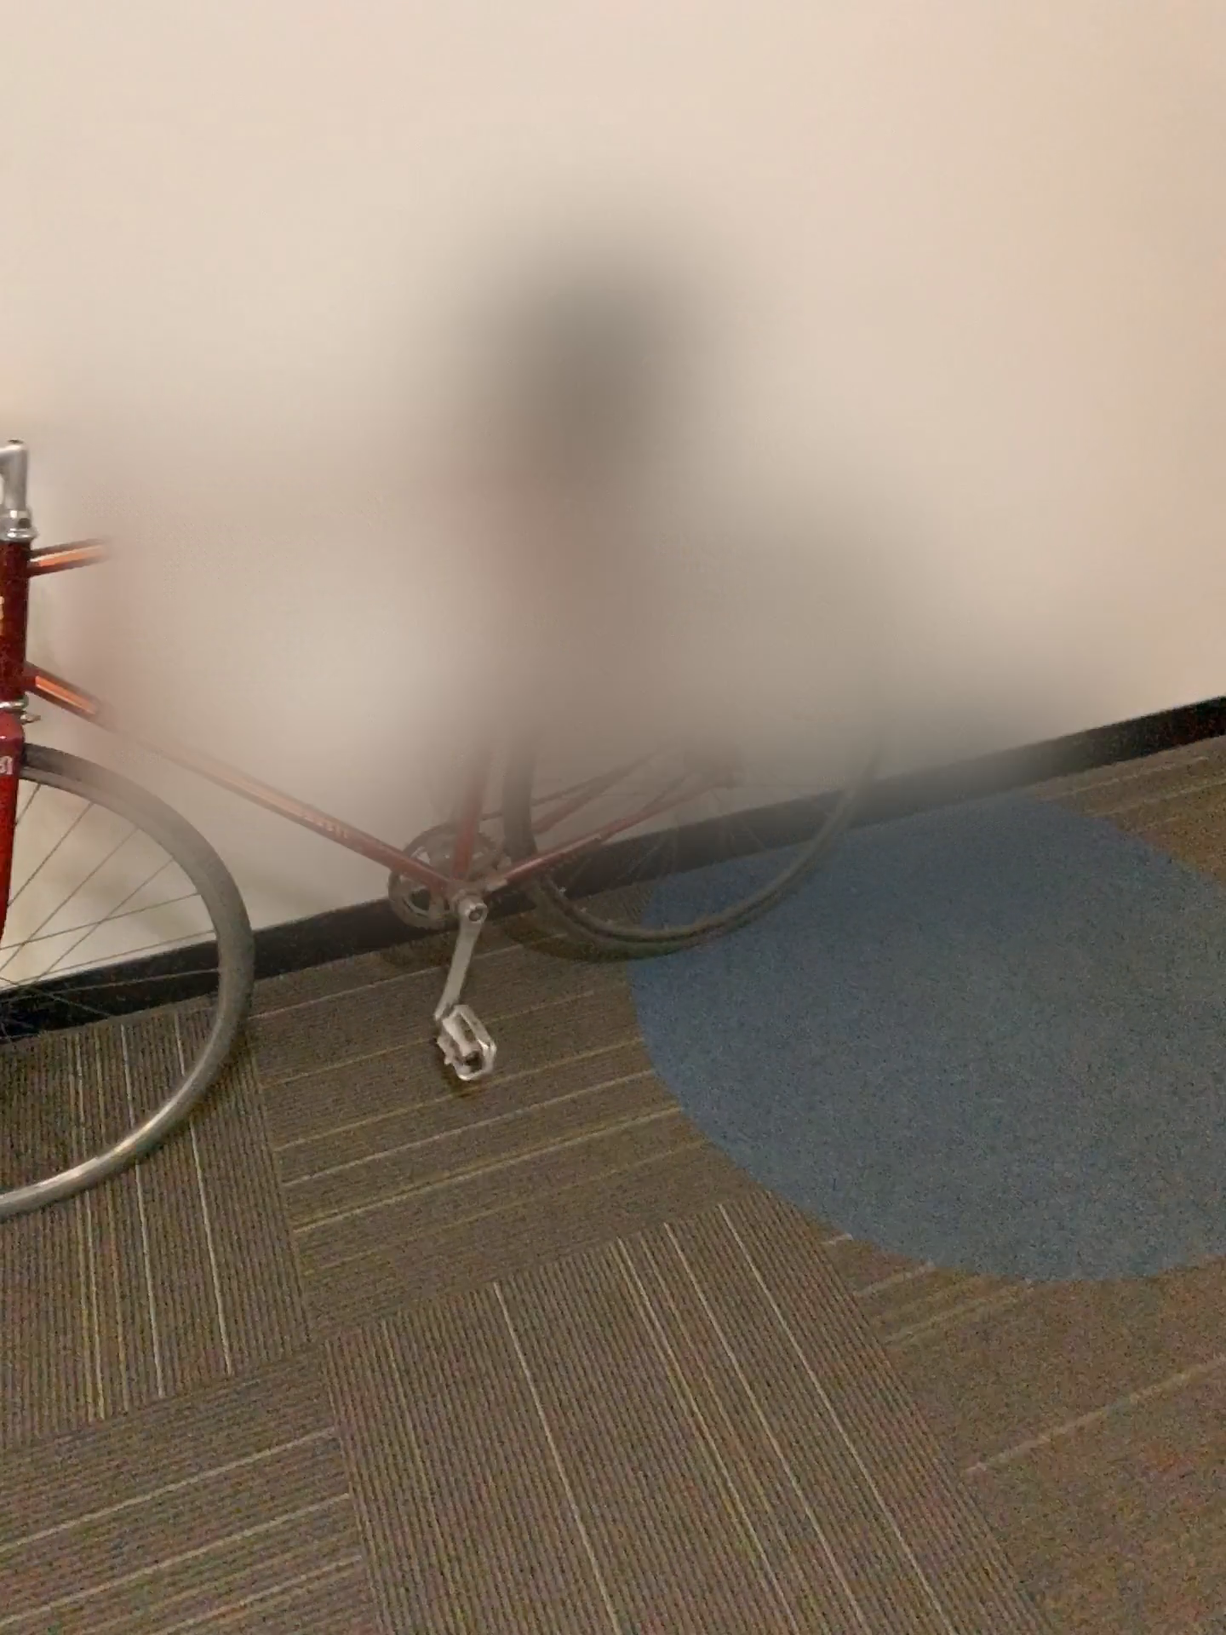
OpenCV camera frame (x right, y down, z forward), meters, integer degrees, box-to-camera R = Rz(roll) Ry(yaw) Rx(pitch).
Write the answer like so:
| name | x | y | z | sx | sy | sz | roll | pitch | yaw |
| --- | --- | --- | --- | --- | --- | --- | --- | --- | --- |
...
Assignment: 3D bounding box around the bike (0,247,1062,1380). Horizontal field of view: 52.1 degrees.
| name | x | y | z | sx | sy | sz | roll | pitch | yaw |
| --- | --- | --- | --- | --- | --- | --- | --- | --- | --- |
| bike | -0.318 | -0.095 | 1.555 | 1.626 | 0.909 | 0.451 | -17 | 40 | -23 |
